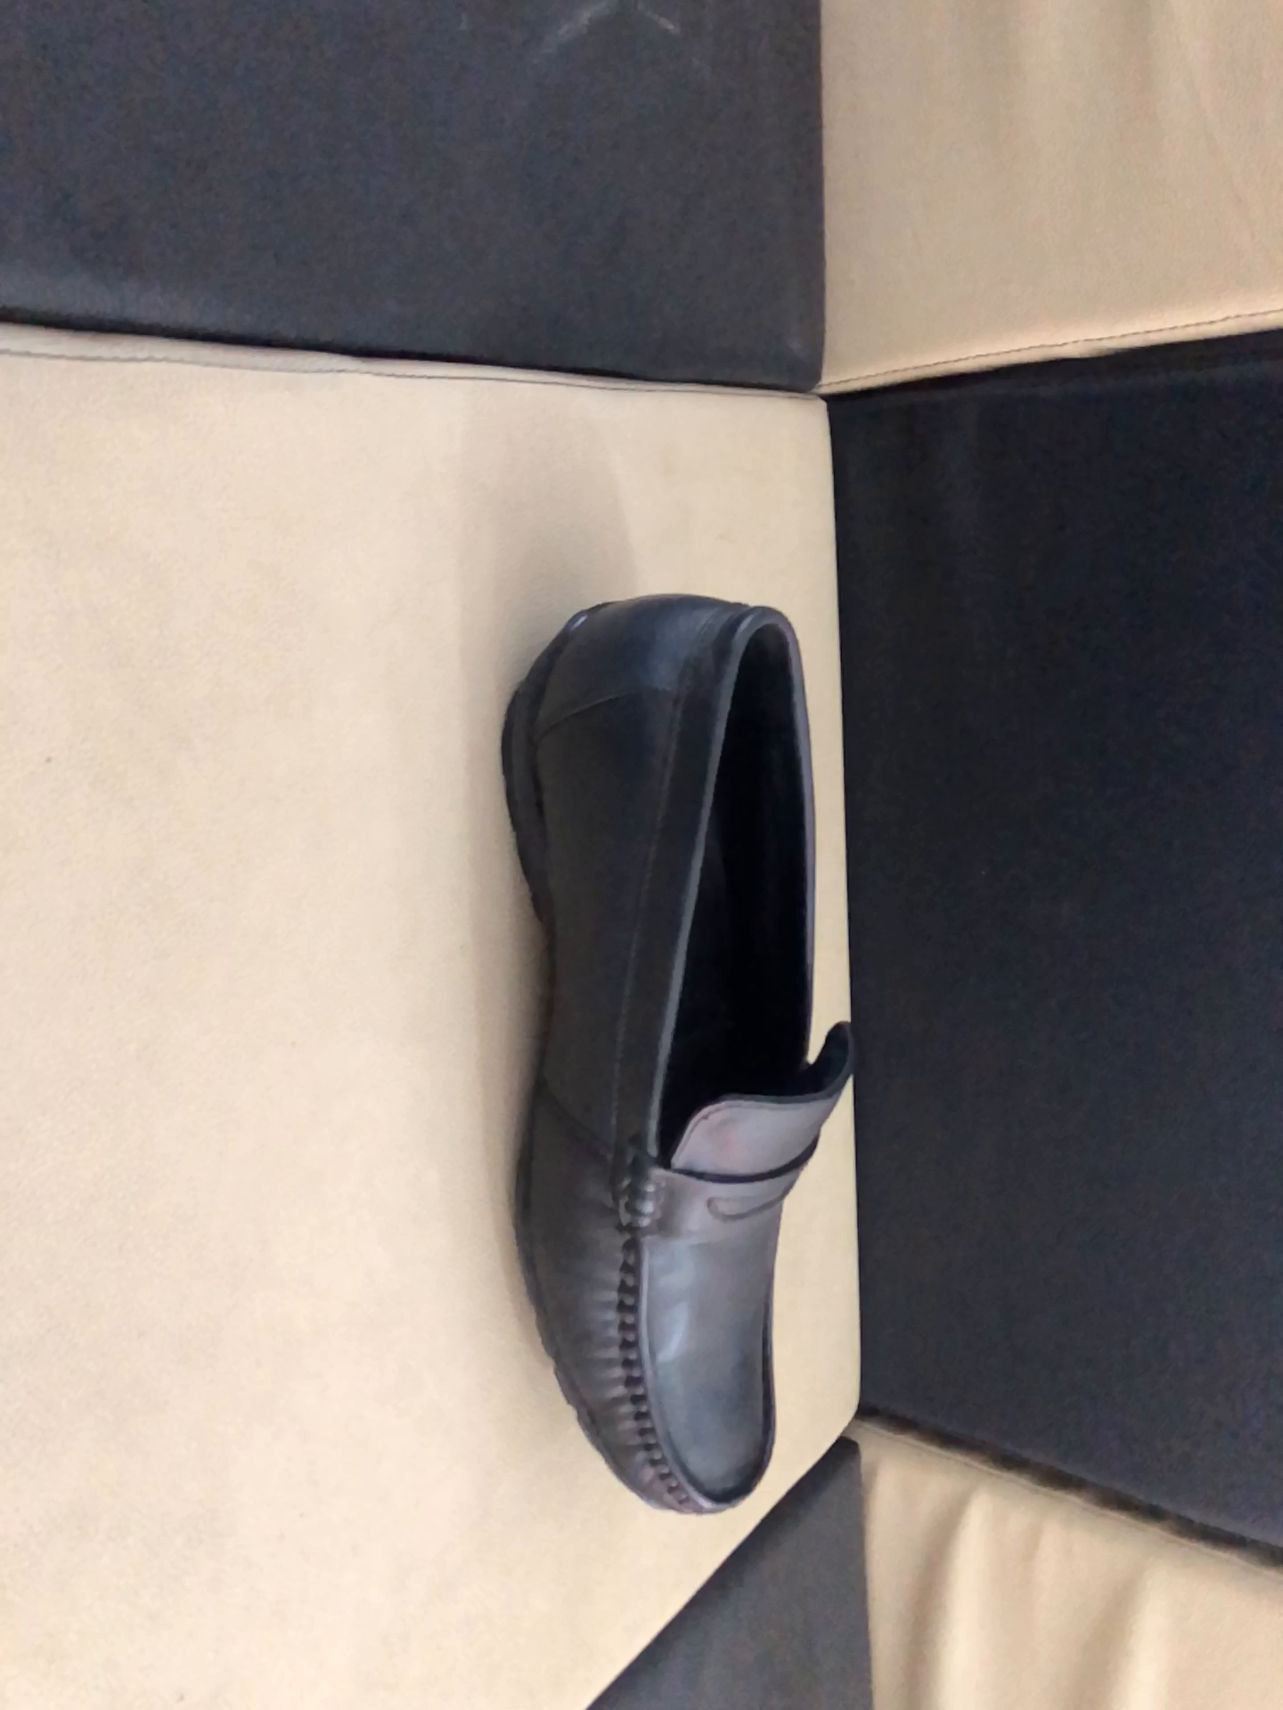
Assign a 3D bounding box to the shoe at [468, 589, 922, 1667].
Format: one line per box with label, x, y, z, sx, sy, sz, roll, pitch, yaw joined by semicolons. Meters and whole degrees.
shoe;0.023;0.070;0.427;0.101;0.079;0.290;-16;106;-51
